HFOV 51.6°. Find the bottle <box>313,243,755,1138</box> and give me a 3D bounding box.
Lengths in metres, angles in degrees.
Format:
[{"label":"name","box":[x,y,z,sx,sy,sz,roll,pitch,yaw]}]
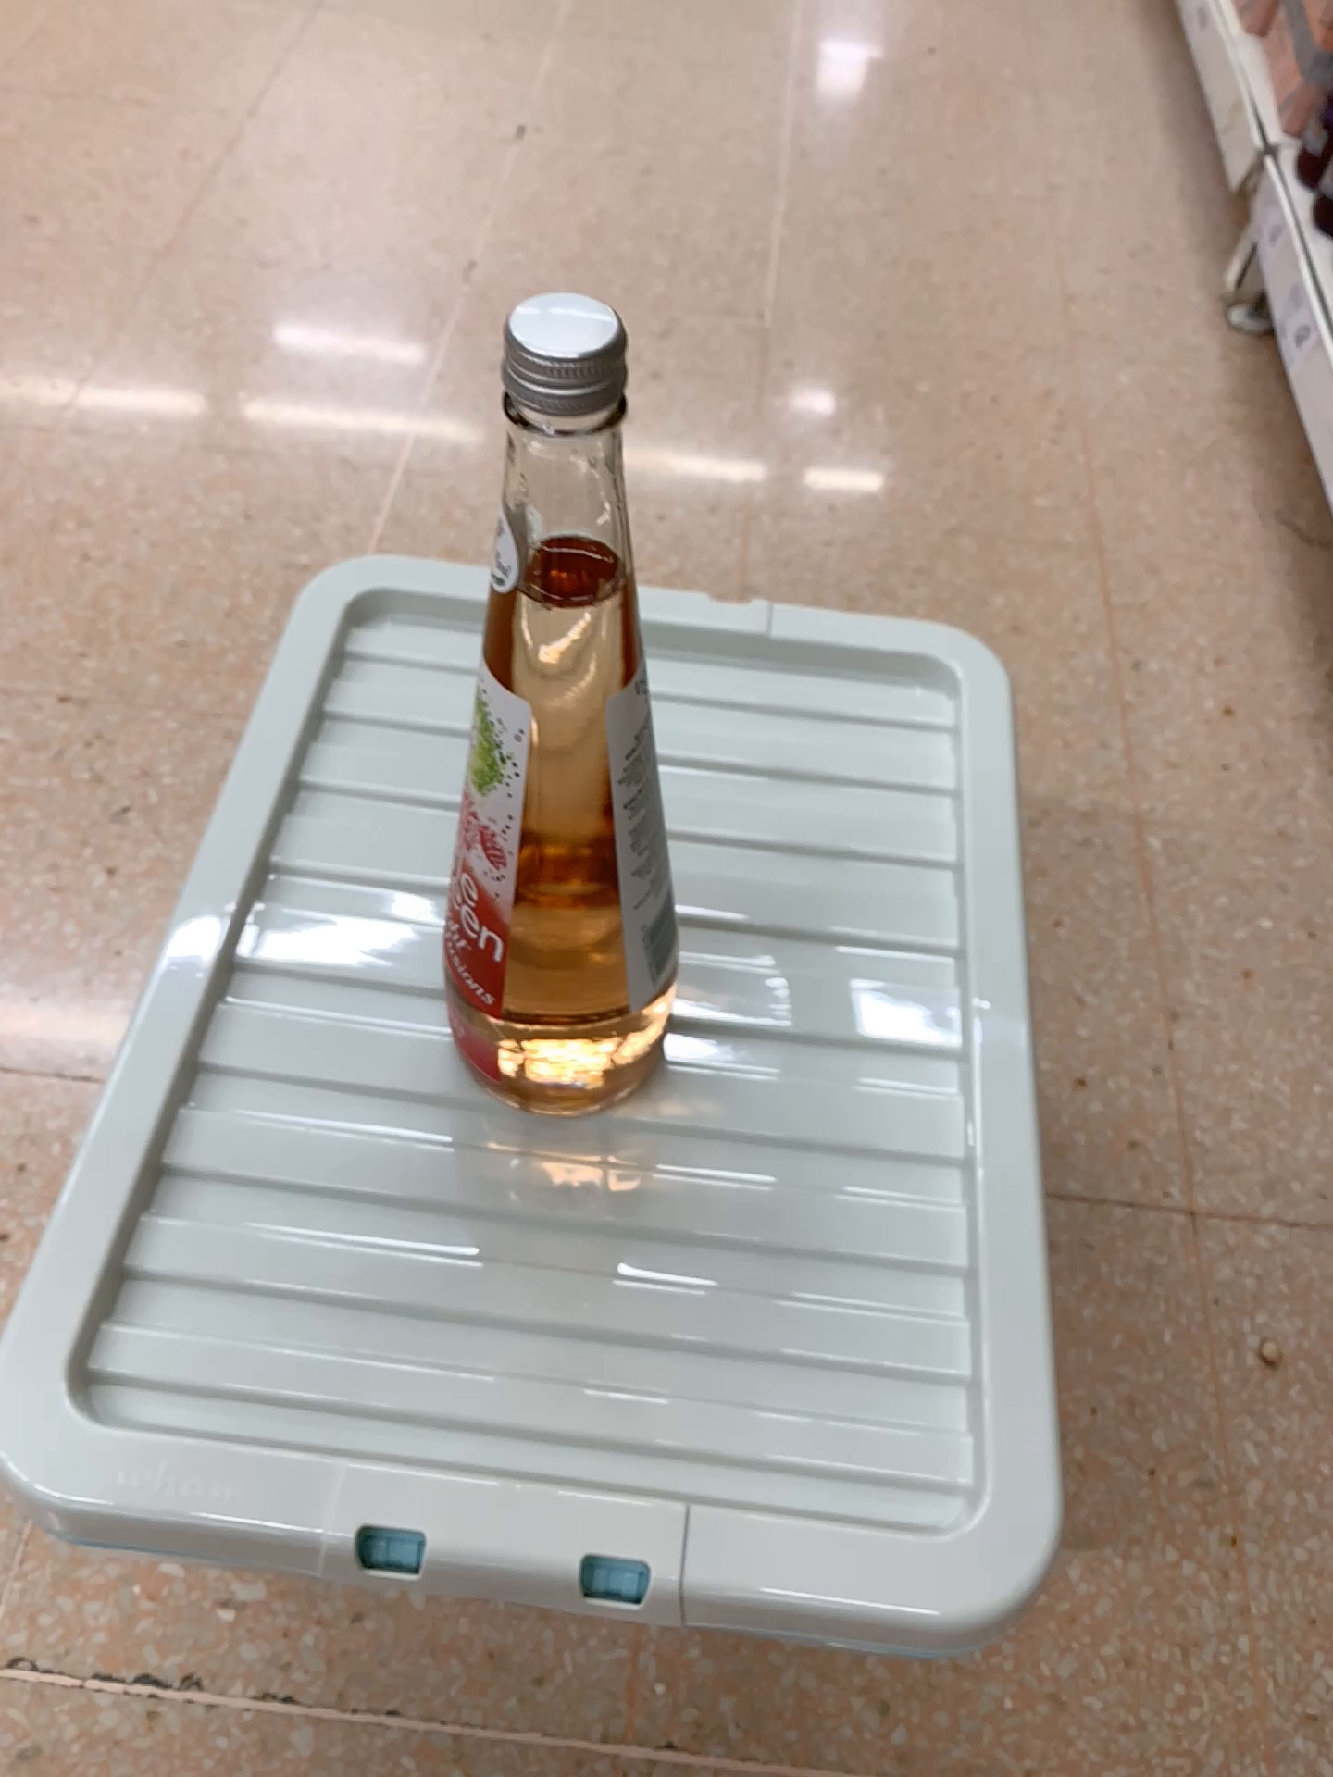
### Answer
[{"label":"bottle","box":[-0.035,-0.031,0.429,0.090,0.299,0.081,5,53,-1]}]
